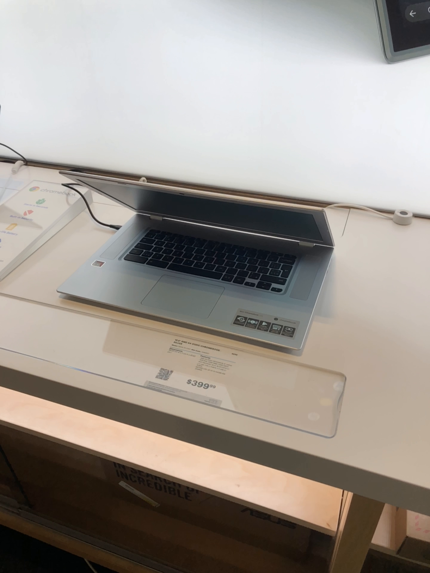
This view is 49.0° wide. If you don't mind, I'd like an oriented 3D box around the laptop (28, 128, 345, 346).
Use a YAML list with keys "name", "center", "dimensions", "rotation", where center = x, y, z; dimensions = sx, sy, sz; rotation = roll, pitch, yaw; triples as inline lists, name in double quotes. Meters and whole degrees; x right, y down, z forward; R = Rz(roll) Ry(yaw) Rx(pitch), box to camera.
- name: "laptop"
  center: [-0.024, -0.097, 0.705]
  dimensions: [0.368, 0.166, 0.255]
  rotation: [12, 39, 18]
